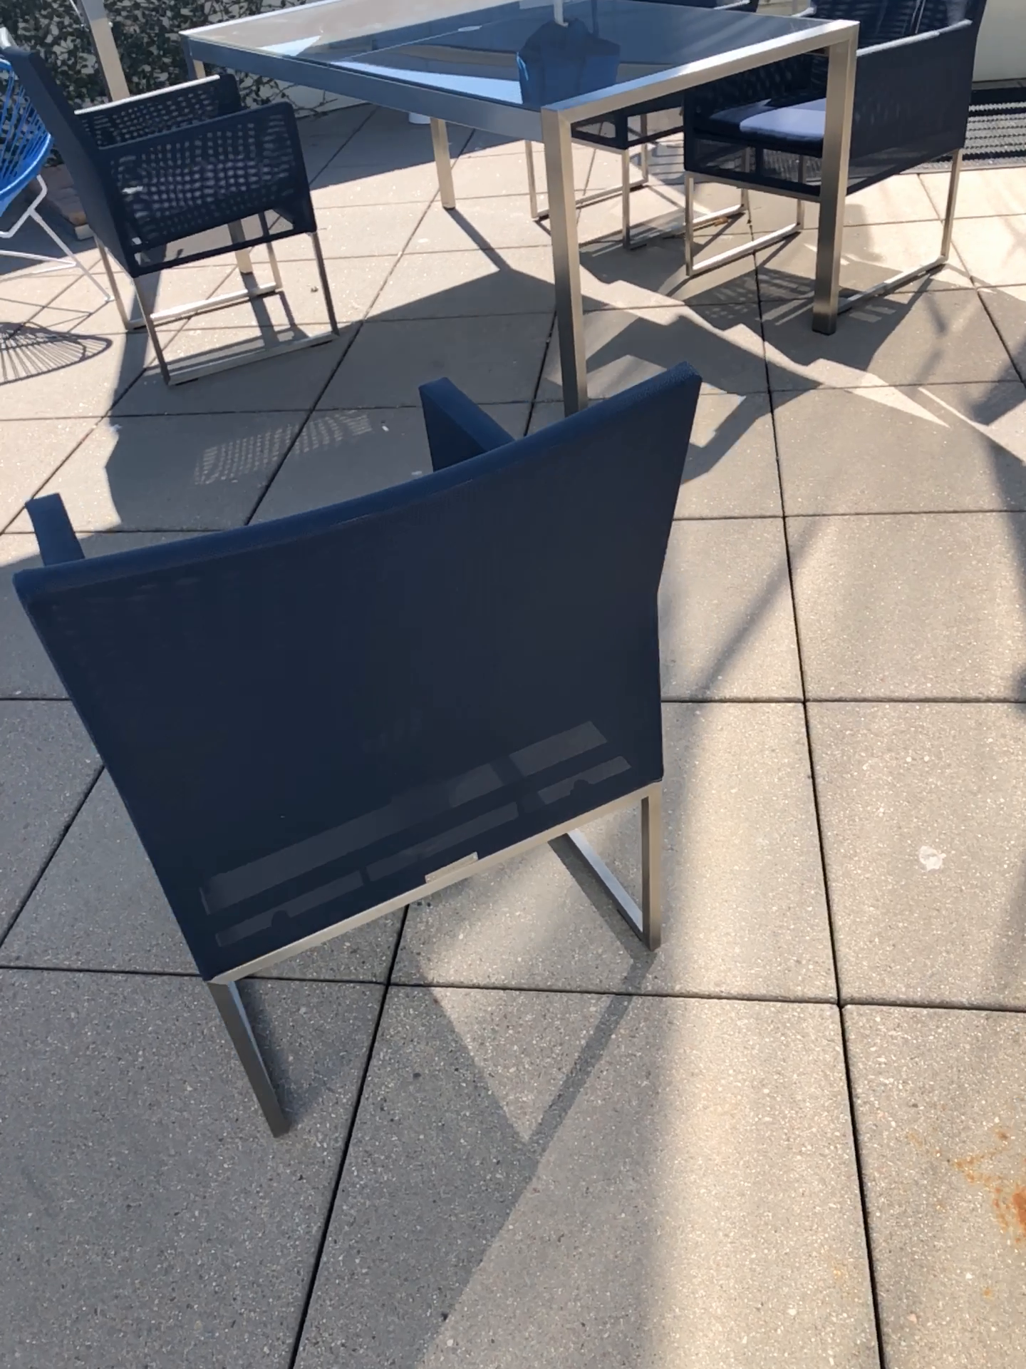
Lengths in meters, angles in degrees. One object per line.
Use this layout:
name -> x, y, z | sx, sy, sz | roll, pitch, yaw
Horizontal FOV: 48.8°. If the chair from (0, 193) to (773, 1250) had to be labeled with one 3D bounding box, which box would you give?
chair -> -0.197, -0.009, 1.273 | 0.650, 0.776, 0.673 | -21, 40, -18
